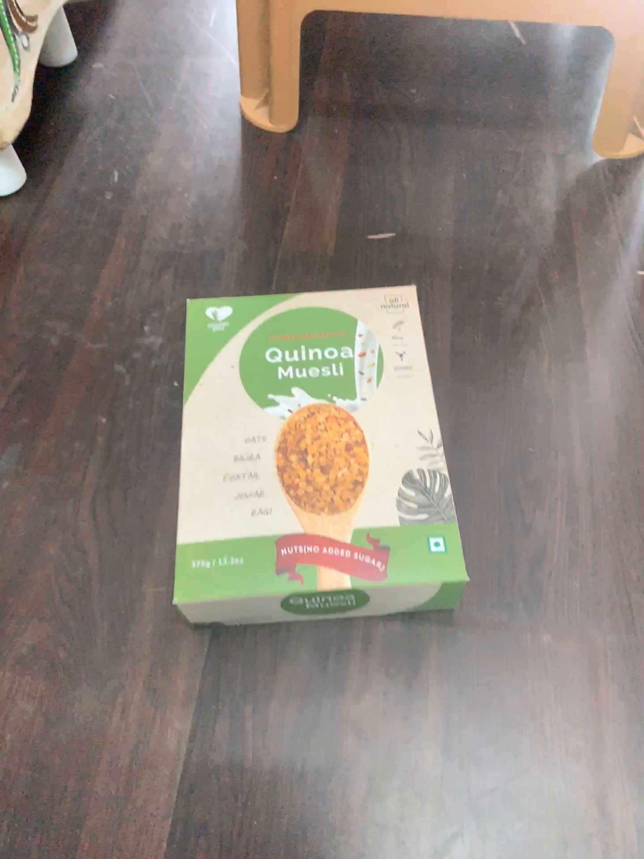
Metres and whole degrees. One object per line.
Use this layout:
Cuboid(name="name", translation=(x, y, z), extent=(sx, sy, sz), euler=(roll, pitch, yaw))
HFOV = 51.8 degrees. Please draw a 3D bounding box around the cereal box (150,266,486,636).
Cuboid(name="cereal box", translation=(-0.007, 0.008, 0.416), extent=(0.170, 0.070, 0.210), euler=(-4, 62, 1))
